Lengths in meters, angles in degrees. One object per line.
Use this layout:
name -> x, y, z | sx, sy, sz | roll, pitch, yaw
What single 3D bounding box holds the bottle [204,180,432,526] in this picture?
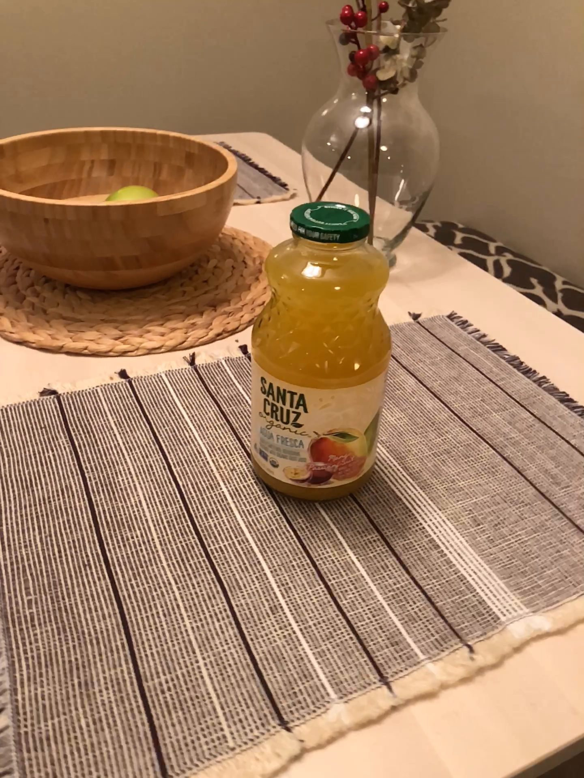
bottle -> 0.013, -0.026, 0.437 | 0.100, 0.189, 0.101 | 2, 34, -2
